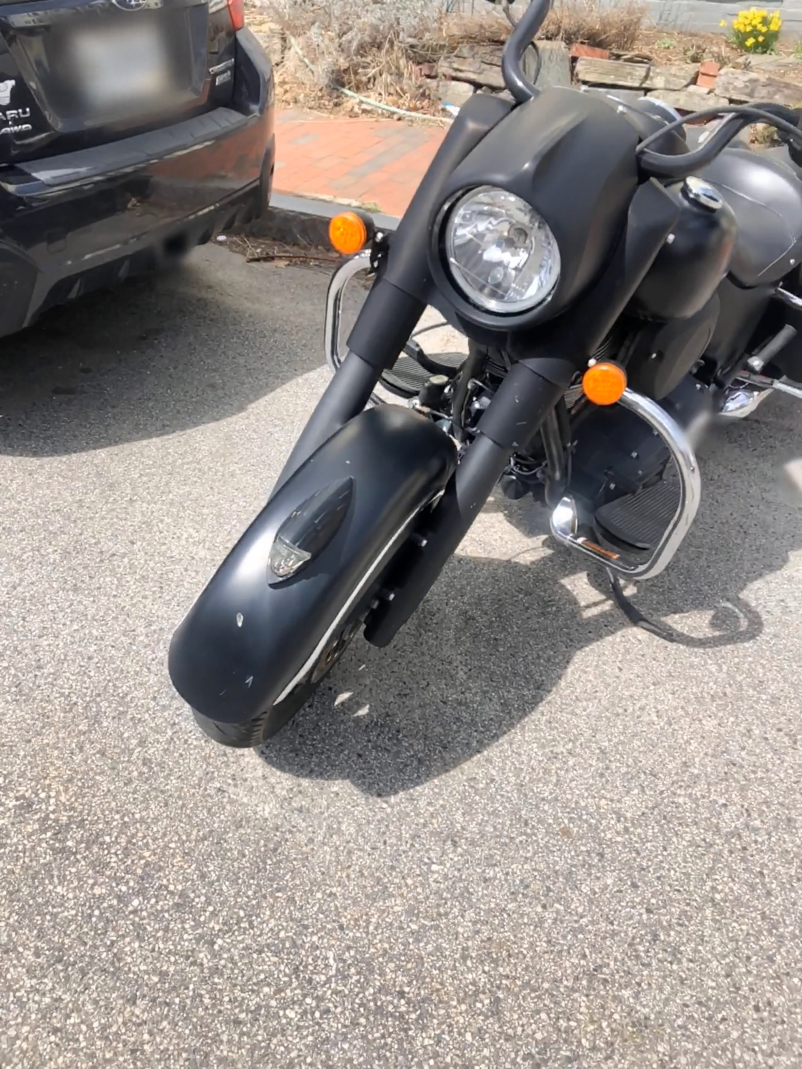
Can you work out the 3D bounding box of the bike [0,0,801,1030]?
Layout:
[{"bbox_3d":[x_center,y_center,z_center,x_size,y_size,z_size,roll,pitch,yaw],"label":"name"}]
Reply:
[{"bbox_3d":[0.331,-0.416,1.880,0.857,1.300,2.100,21,43,27],"label":"bike"}]
